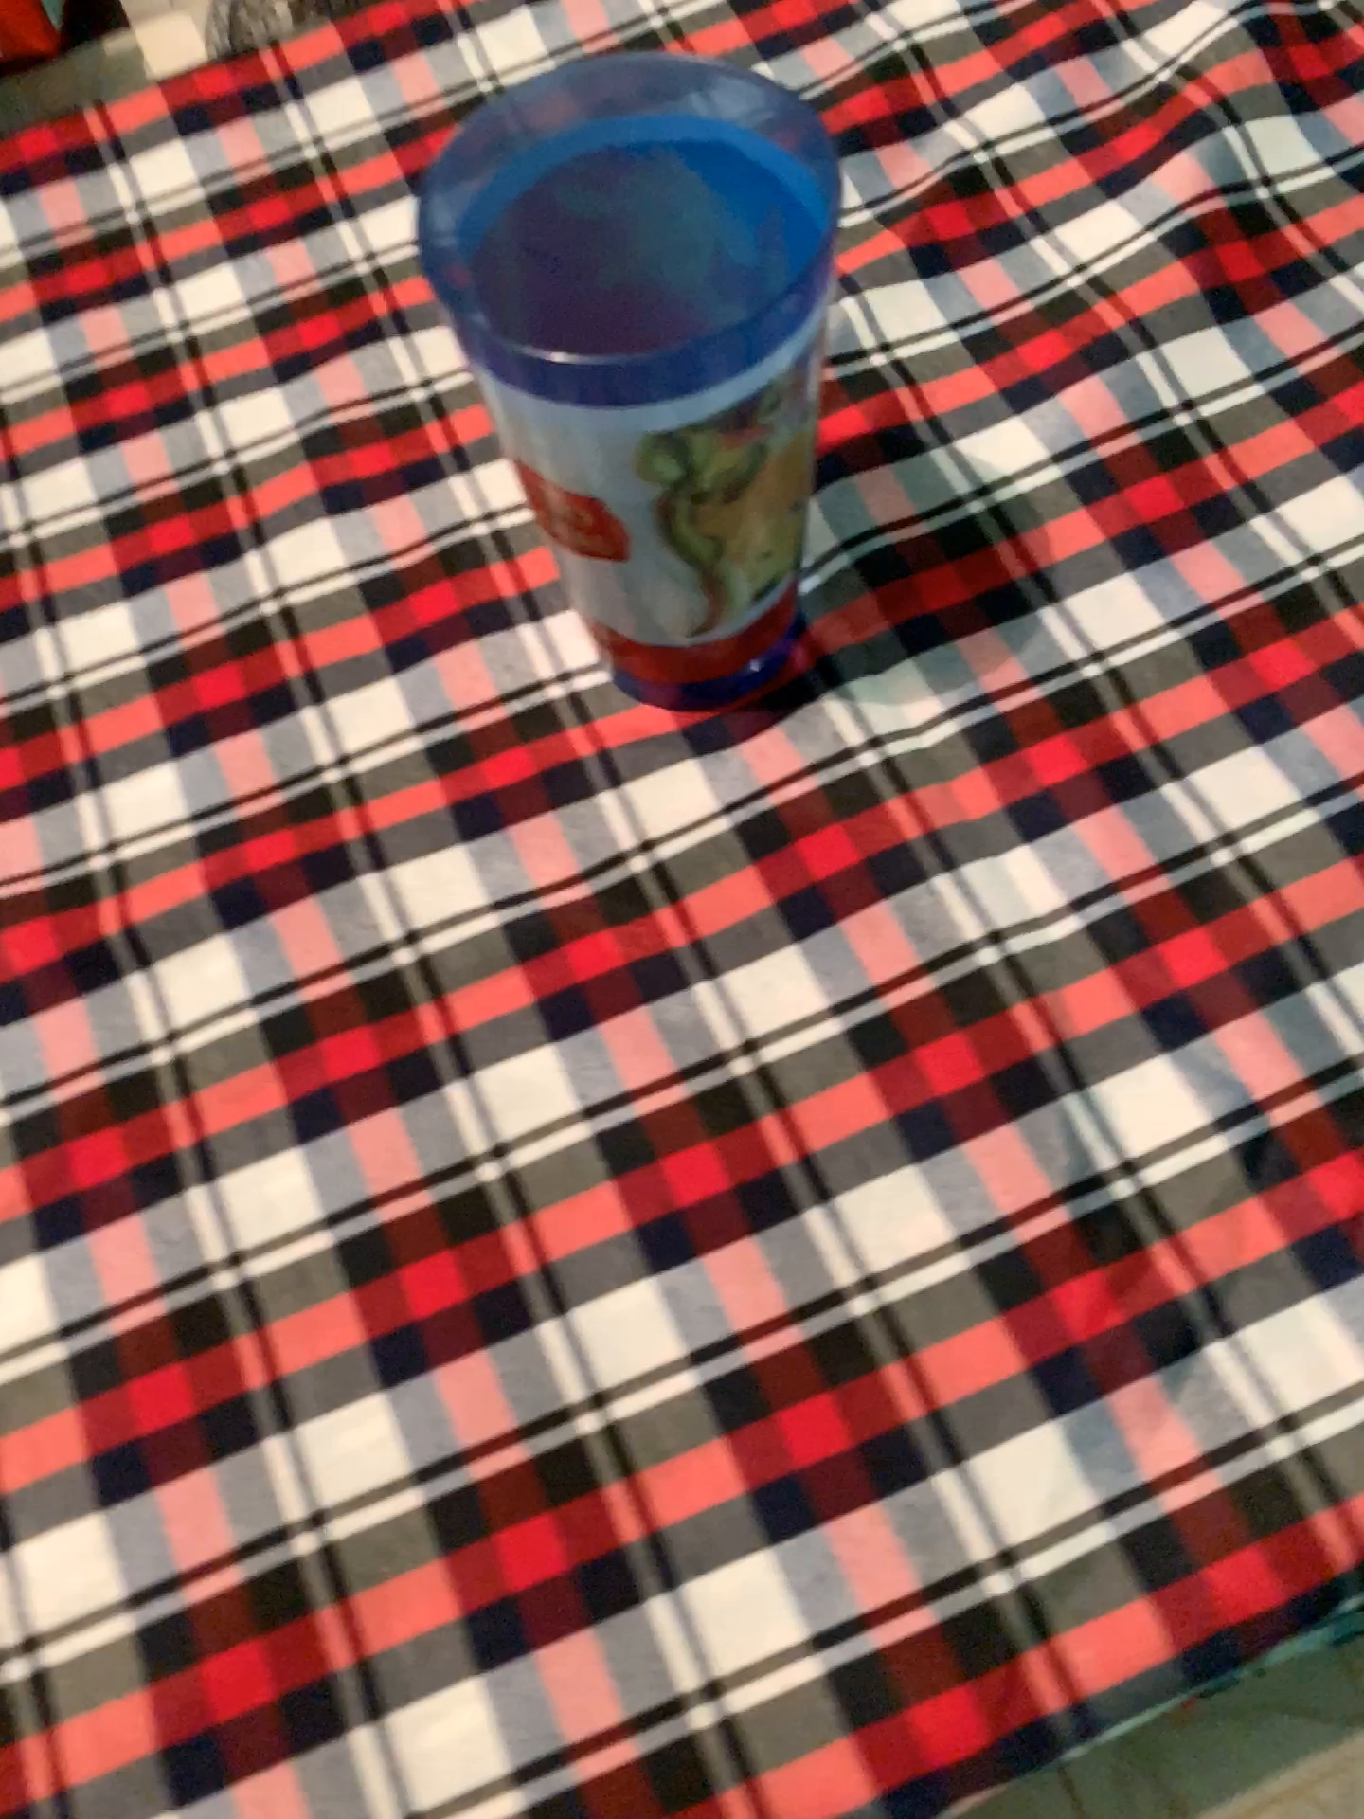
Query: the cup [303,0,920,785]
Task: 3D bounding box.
[{"bbox_3d":[-0.010,-0.118,0.340,0.090,0.130,0.090,-2,65,5],"label":"cup"}]
